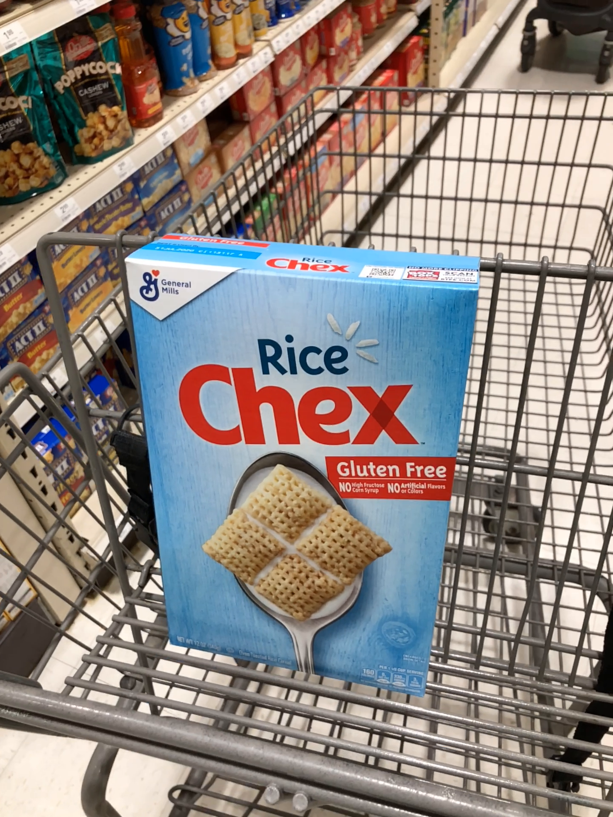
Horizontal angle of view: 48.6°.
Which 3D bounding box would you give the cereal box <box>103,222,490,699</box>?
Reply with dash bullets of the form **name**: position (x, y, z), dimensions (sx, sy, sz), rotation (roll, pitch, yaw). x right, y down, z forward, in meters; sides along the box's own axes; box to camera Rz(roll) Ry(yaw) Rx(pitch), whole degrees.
- **cereal box**: position (-0.005, 0.040, 0.434), dimensions (0.200, 0.290, 0.060), rotation (7, 28, 12)
